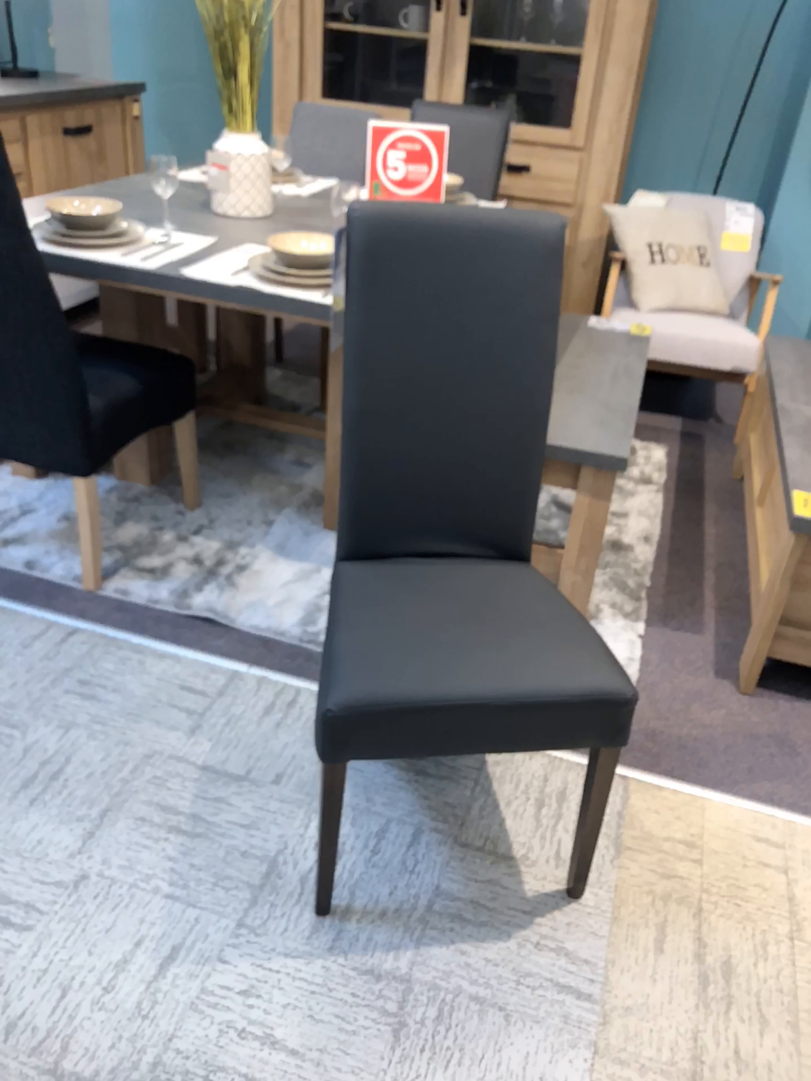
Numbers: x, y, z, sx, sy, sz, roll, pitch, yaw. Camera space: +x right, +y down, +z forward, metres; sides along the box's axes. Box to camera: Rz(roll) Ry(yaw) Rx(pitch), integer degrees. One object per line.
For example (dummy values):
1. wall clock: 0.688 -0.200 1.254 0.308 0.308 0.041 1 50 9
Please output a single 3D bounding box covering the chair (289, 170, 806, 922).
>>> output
1. chair: 0.100 0.010 1.440 0.521 1.014 0.573 0 30 -10
